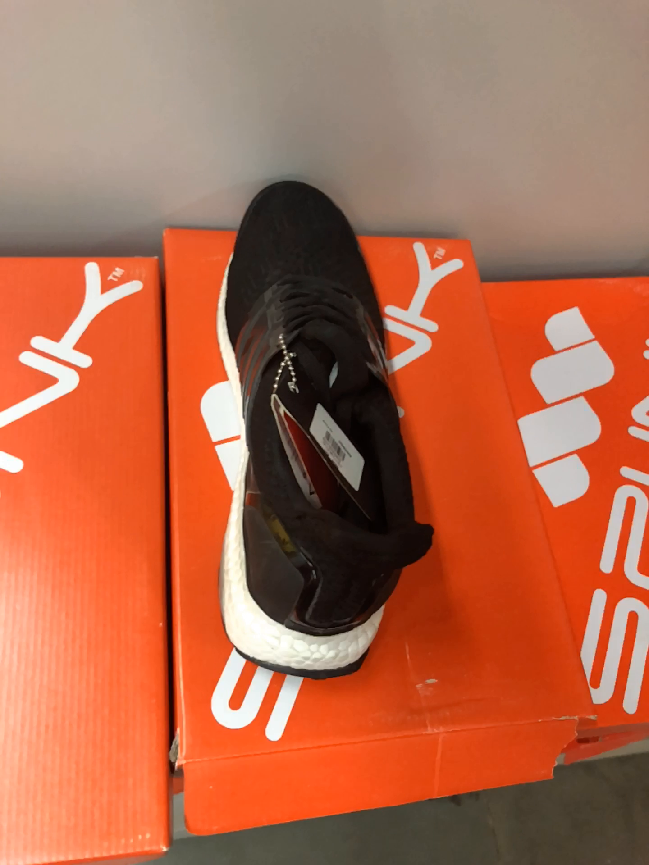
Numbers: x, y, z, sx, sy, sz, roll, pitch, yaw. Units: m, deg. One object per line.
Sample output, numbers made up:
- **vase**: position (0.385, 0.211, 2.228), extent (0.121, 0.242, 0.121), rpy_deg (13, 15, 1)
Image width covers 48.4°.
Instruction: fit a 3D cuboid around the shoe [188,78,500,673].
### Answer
- **shoe**: position (-0.002, -0.030, 0.389), extent (0.117, 0.120, 0.290), rpy_deg (4, 64, -11)
